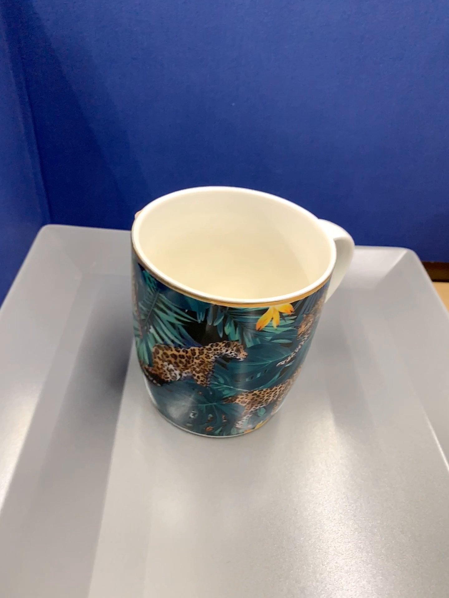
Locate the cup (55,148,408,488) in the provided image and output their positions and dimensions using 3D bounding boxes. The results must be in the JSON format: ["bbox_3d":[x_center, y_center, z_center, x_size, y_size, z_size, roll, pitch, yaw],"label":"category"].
[{"bbox_3d":[0.005,-0.003,0.232,0.093,0.091,0.126,33,46,32],"label":"cup"}]
